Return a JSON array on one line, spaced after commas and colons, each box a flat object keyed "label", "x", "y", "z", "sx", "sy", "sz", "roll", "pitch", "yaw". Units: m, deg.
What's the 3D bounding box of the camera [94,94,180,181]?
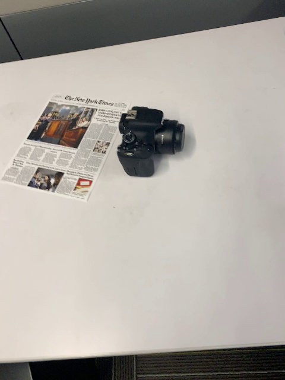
[{"label": "camera", "x": -0.002, "y": -0.111, "z": 0.611, "sx": 0.143, "sy": 0.100, "sz": 0.146, "roll": 4, "pitch": 63, "yaw": 12}]
